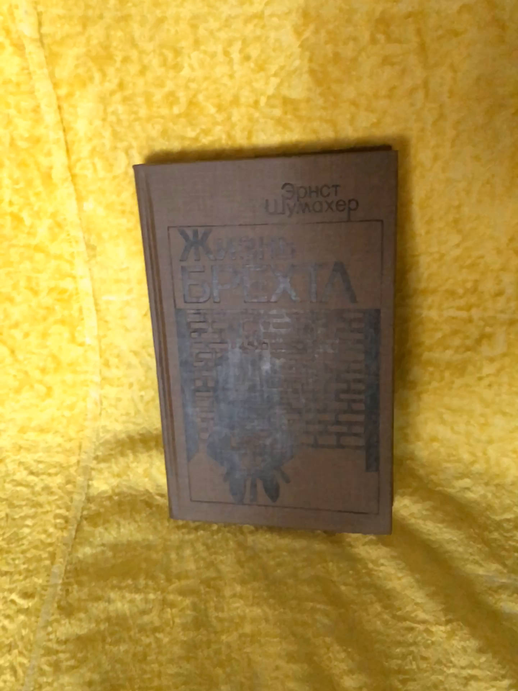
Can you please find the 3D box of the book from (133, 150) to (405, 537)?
[{"bbox_3d":[0.008,0.002,0.314,0.130,0.200,0.033,1,16,11],"label":"book"}]
